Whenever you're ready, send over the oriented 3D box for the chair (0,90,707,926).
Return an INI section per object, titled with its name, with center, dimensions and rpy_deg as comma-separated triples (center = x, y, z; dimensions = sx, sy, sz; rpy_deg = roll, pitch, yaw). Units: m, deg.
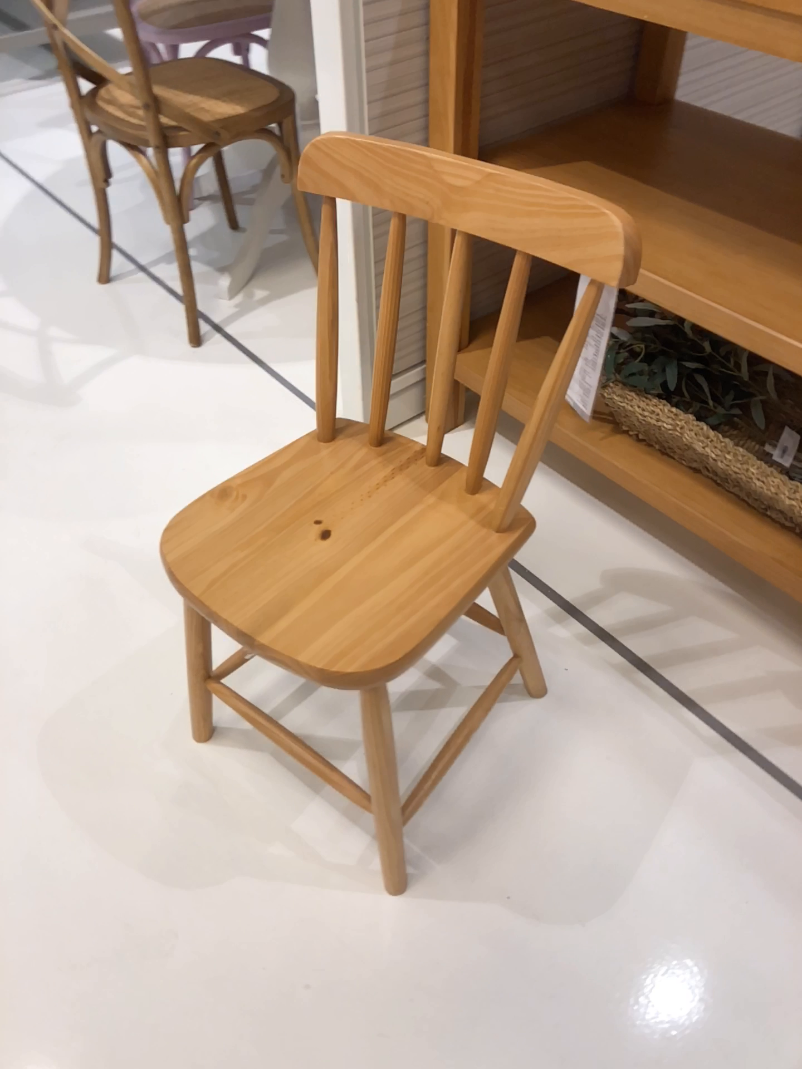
[chair]
center = -0.022, -0.011, 1.023
dimensions = 0.421, 0.754, 0.452
rpy_deg = 29, 52, 28
